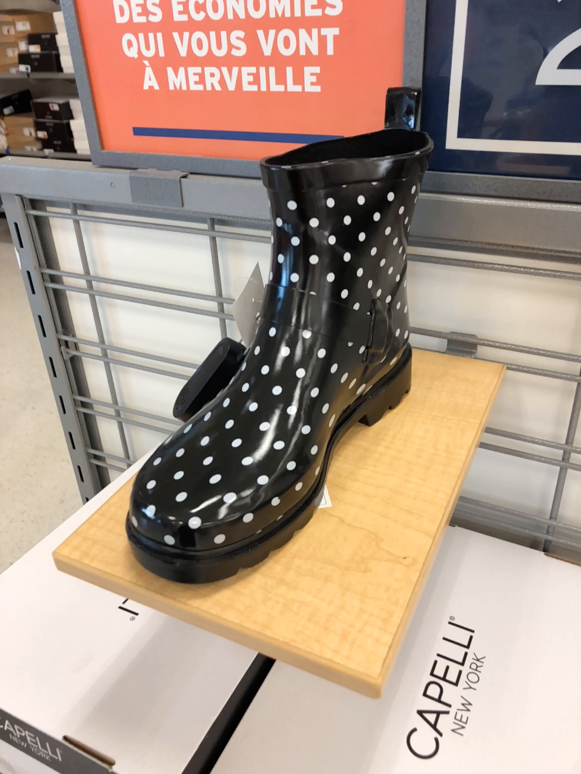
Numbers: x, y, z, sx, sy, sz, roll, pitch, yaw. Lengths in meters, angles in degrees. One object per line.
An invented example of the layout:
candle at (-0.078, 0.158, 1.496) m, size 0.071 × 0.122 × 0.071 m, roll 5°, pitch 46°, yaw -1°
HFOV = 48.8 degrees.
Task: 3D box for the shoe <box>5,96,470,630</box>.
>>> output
shoe at (0.006, -0.042, 0.360) m, size 0.095 × 0.188 × 0.262 m, roll 14°, pitch 35°, yaw 27°
